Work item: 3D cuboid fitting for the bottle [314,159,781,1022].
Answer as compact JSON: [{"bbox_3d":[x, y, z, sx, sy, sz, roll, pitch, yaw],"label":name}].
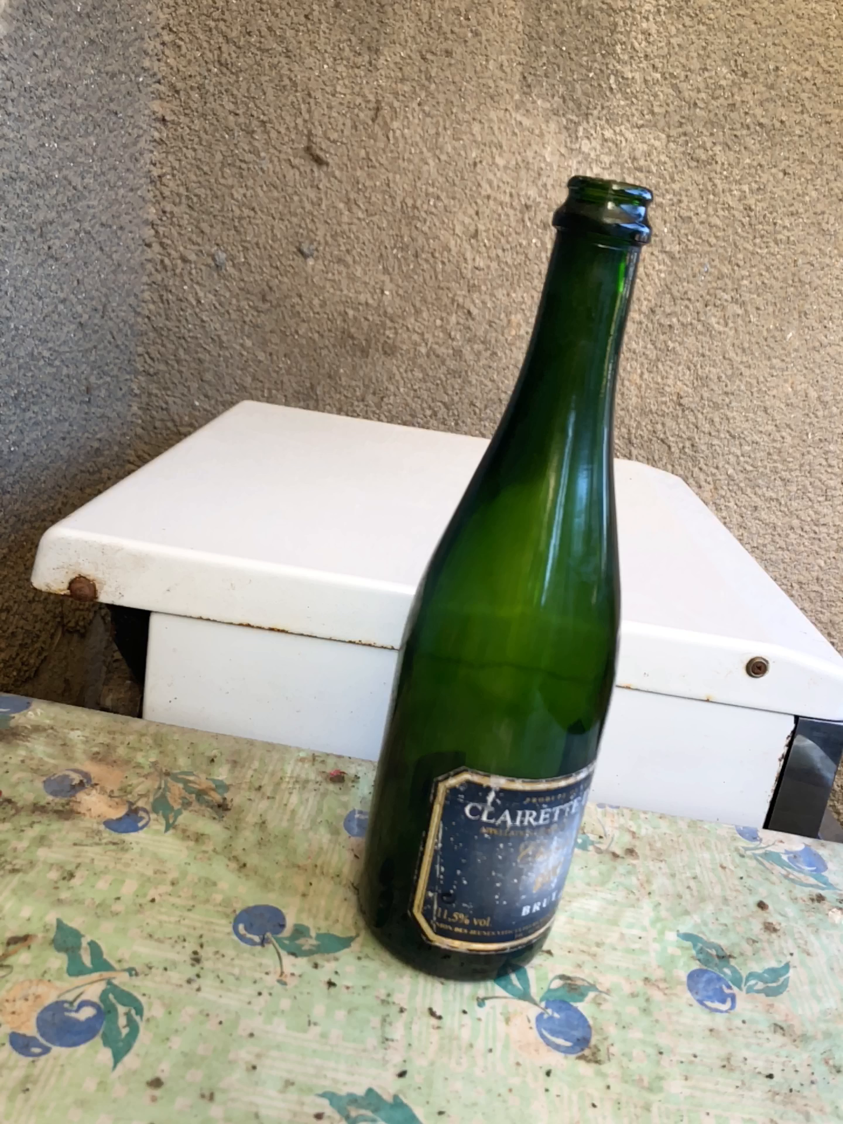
[{"bbox_3d":[0.037,0.016,0.366,0.090,0.309,0.080,-4,23,-36],"label":"bottle"}]
